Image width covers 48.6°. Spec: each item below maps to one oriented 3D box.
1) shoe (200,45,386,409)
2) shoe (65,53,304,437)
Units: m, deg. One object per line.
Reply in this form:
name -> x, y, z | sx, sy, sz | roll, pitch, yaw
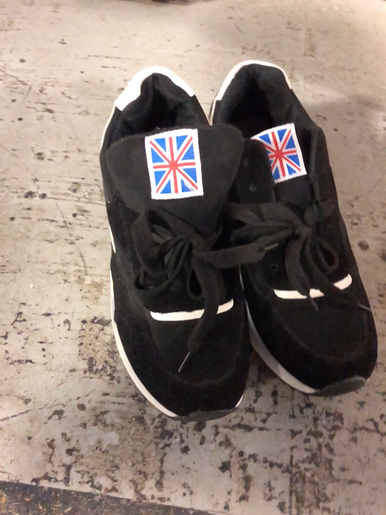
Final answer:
shoe -> 0.085, -0.029, 0.322 | 0.110, 0.109, 0.241 | -8, 62, -7
shoe -> -0.021, -0.012, 0.301 | 0.100, 0.119, 0.231 | -8, 62, -7
